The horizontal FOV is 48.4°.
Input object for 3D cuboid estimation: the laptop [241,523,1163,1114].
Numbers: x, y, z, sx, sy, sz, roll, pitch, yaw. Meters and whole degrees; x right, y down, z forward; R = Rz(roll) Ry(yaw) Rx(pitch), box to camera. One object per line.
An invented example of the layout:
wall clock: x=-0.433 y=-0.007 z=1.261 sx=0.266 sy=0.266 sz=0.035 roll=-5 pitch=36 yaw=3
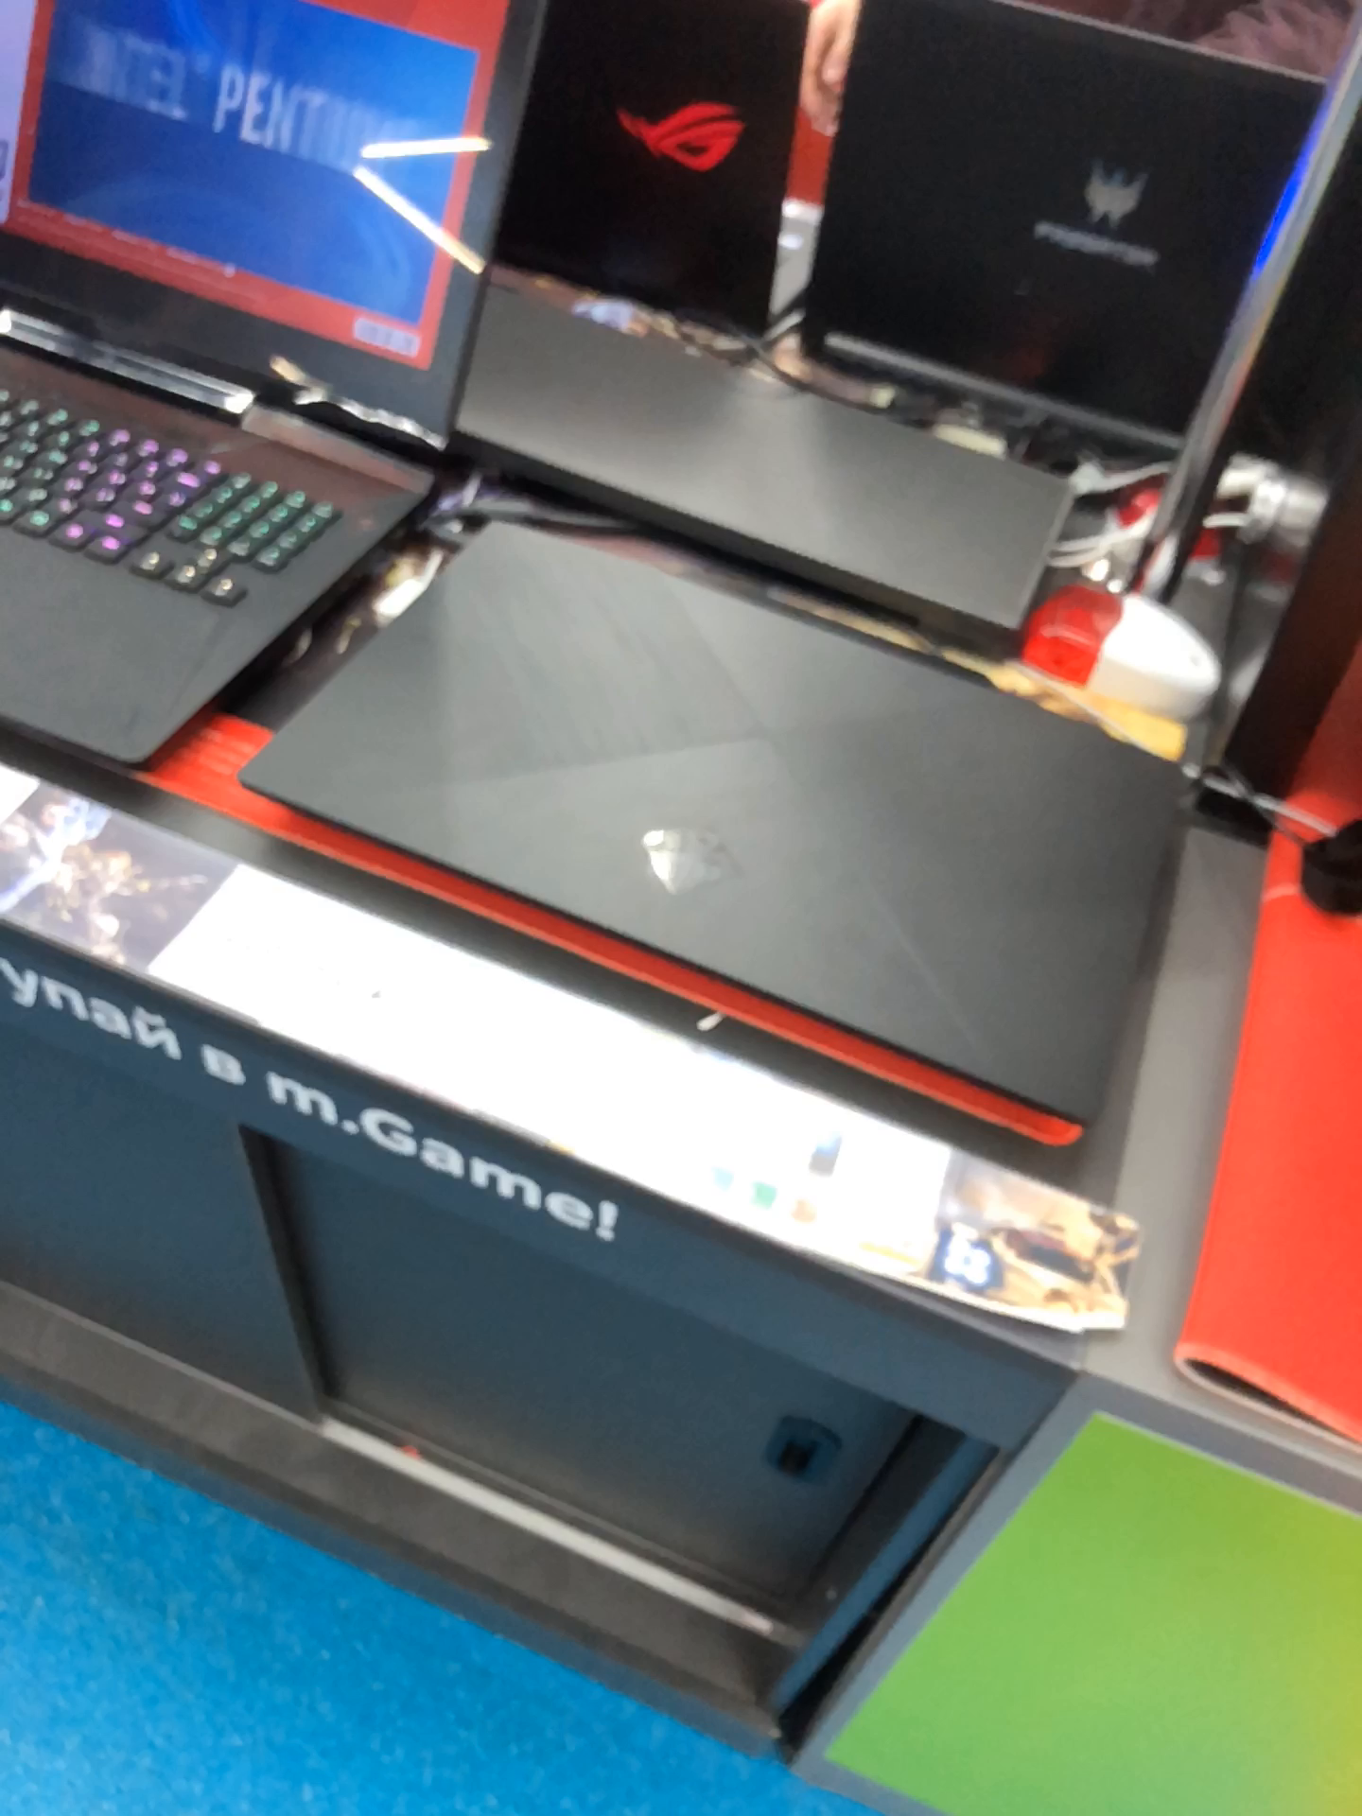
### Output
laptop: x=0.028 y=-0.069 z=0.748 sx=0.398 sy=0.002 sz=0.262 roll=21 pitch=44 yaw=9
